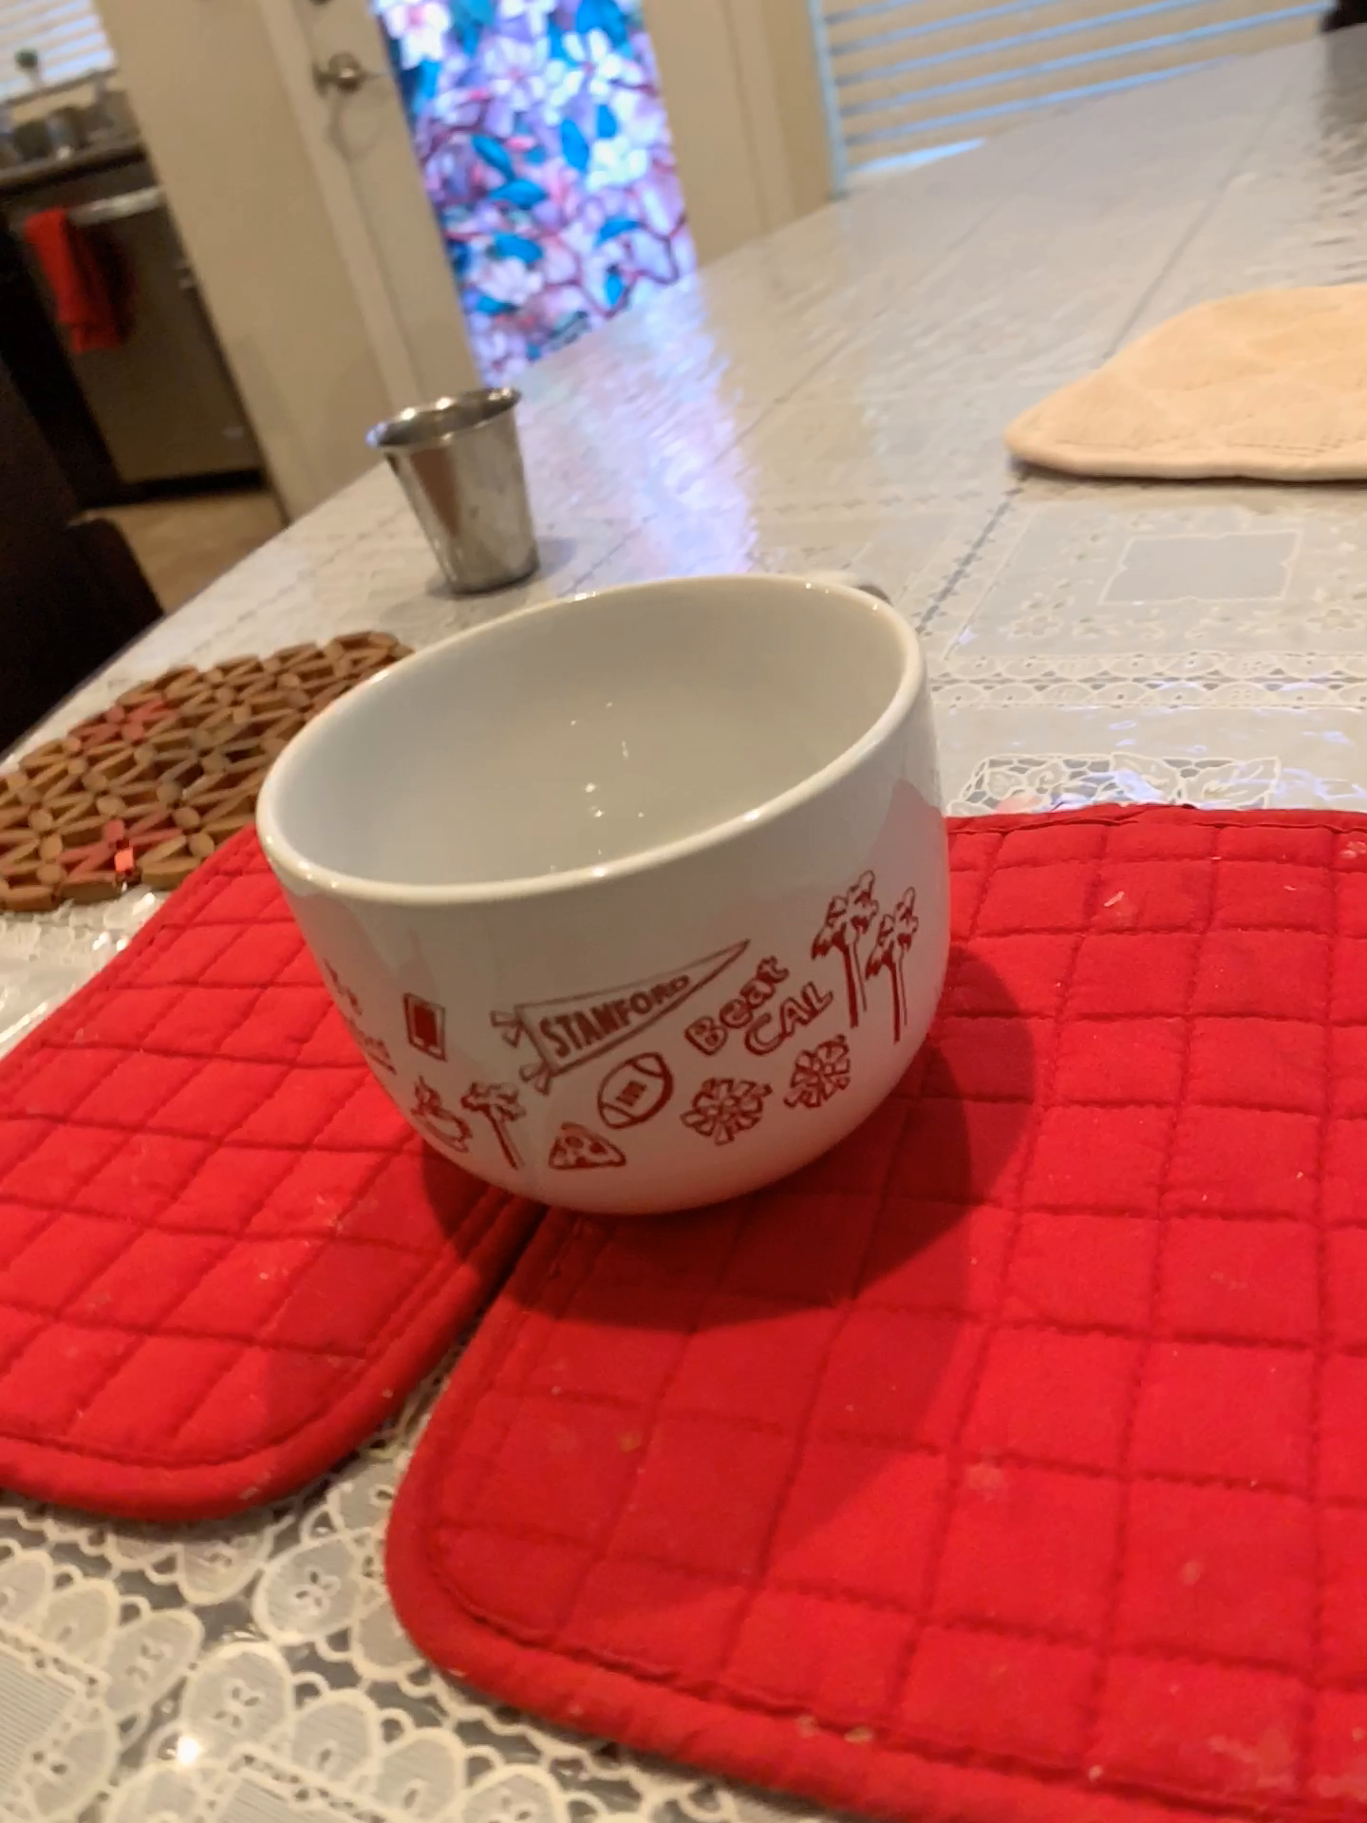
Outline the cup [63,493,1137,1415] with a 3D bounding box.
[{"bbox_3d":[-0.004,-0.011,0.258,0.121,0.079,0.141,12,42,36],"label":"cup"}]
